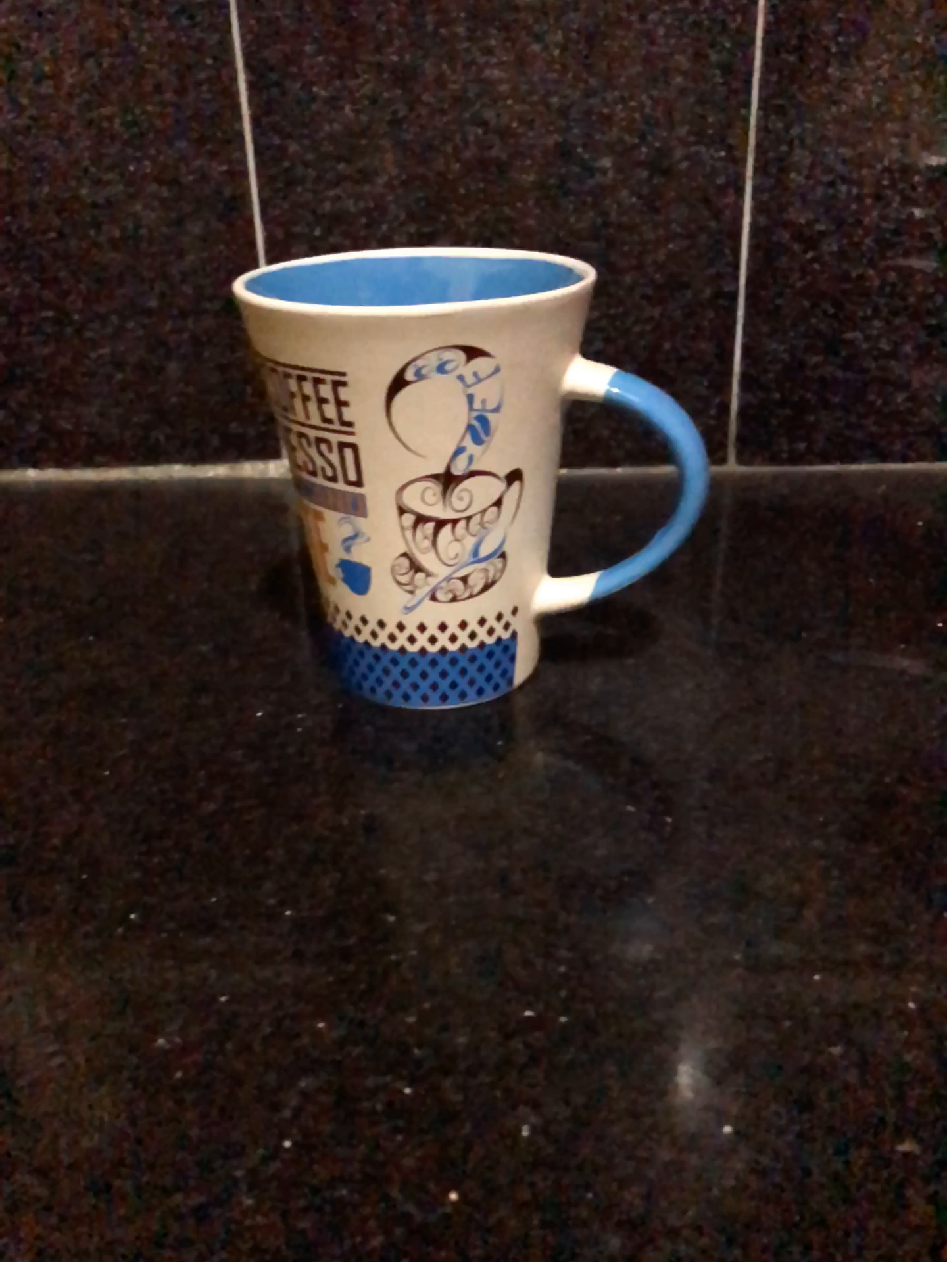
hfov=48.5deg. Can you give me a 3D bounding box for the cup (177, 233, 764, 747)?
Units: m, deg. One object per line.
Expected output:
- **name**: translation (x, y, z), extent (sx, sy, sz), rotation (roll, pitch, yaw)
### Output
- **cup**: translation (0.007, -0.046, 0.289), extent (0.130, 0.109, 0.091), rotation (5, 27, 13)
